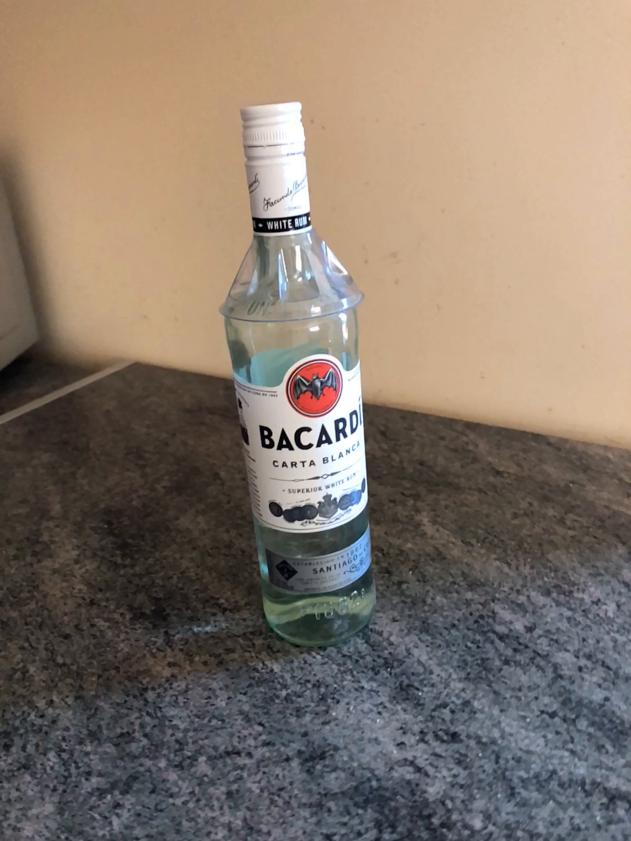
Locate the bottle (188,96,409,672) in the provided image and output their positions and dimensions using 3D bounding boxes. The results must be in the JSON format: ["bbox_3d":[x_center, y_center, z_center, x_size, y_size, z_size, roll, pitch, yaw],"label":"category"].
[{"bbox_3d":[-0.003,-0.015,0.392,0.080,0.299,0.080,-3,23,1],"label":"bottle"}]
